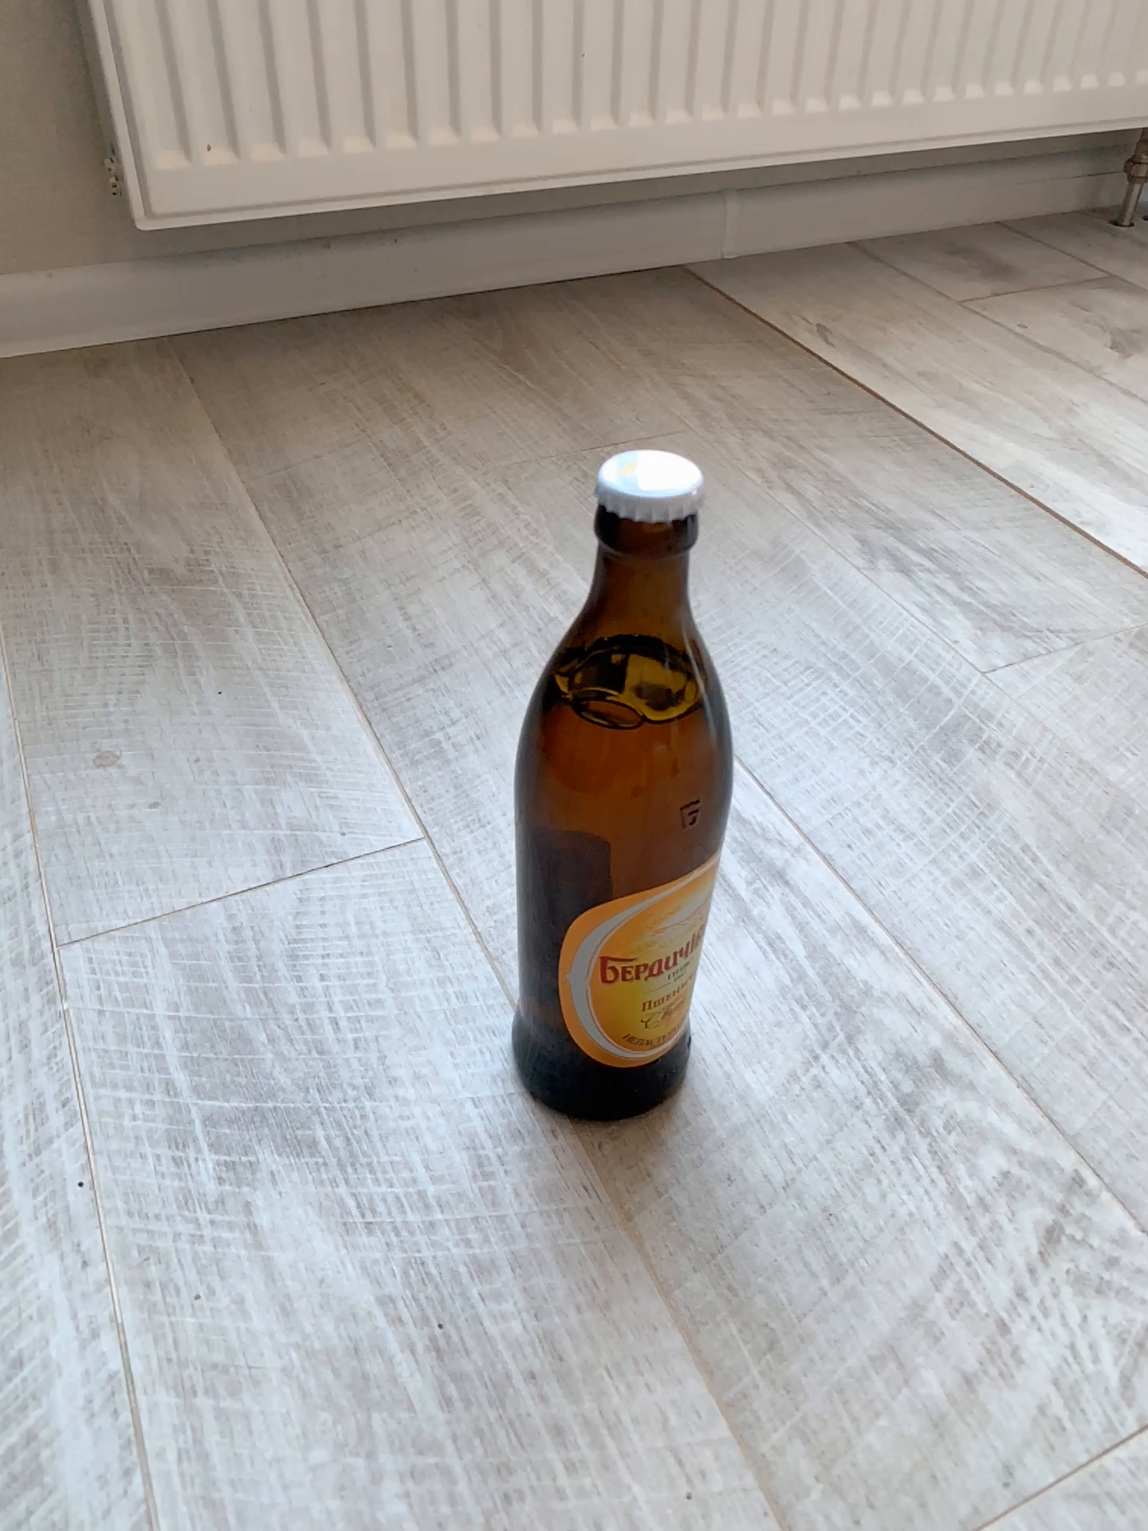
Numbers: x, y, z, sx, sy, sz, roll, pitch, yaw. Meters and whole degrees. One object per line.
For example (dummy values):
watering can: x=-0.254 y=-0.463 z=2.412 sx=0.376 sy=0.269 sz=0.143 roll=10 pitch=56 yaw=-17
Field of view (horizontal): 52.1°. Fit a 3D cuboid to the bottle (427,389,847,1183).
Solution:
bottle: x=0.011 y=0.019 z=0.350 sx=0.070 sy=0.229 sz=0.070 roll=1 pitch=41 yaw=-1
